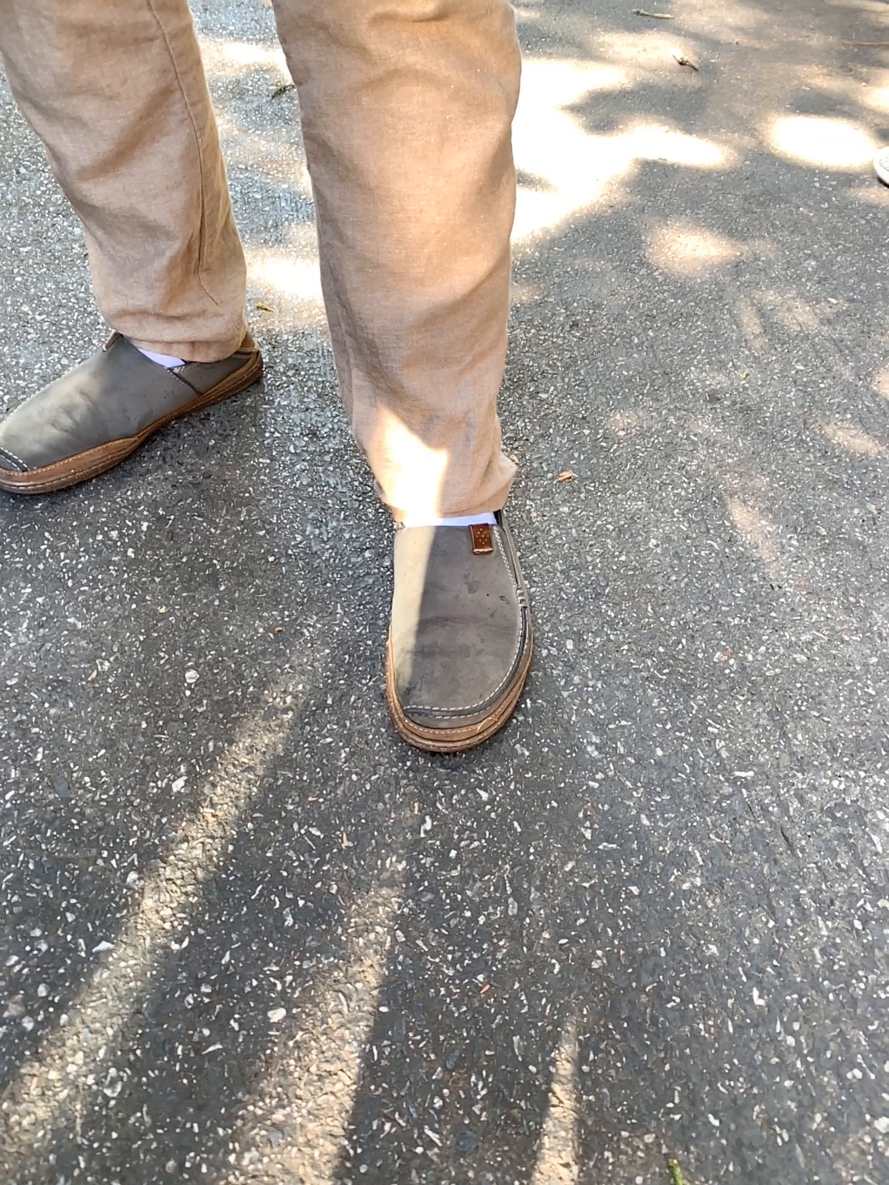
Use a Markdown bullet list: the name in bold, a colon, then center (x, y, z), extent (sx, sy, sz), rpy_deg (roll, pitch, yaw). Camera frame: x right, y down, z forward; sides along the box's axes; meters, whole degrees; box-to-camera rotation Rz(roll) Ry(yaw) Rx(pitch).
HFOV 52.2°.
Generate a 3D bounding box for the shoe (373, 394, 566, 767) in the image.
- **shoe**: center (0.006, -0.026, 0.715), extent (0.120, 0.080, 0.322), rpy_deg (-1, 48, -4)

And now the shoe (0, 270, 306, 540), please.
- **shoe**: center (-0.283, -0.185, 0.831), extent (0.120, 0.060, 0.321), rpy_deg (30, 54, 22)
